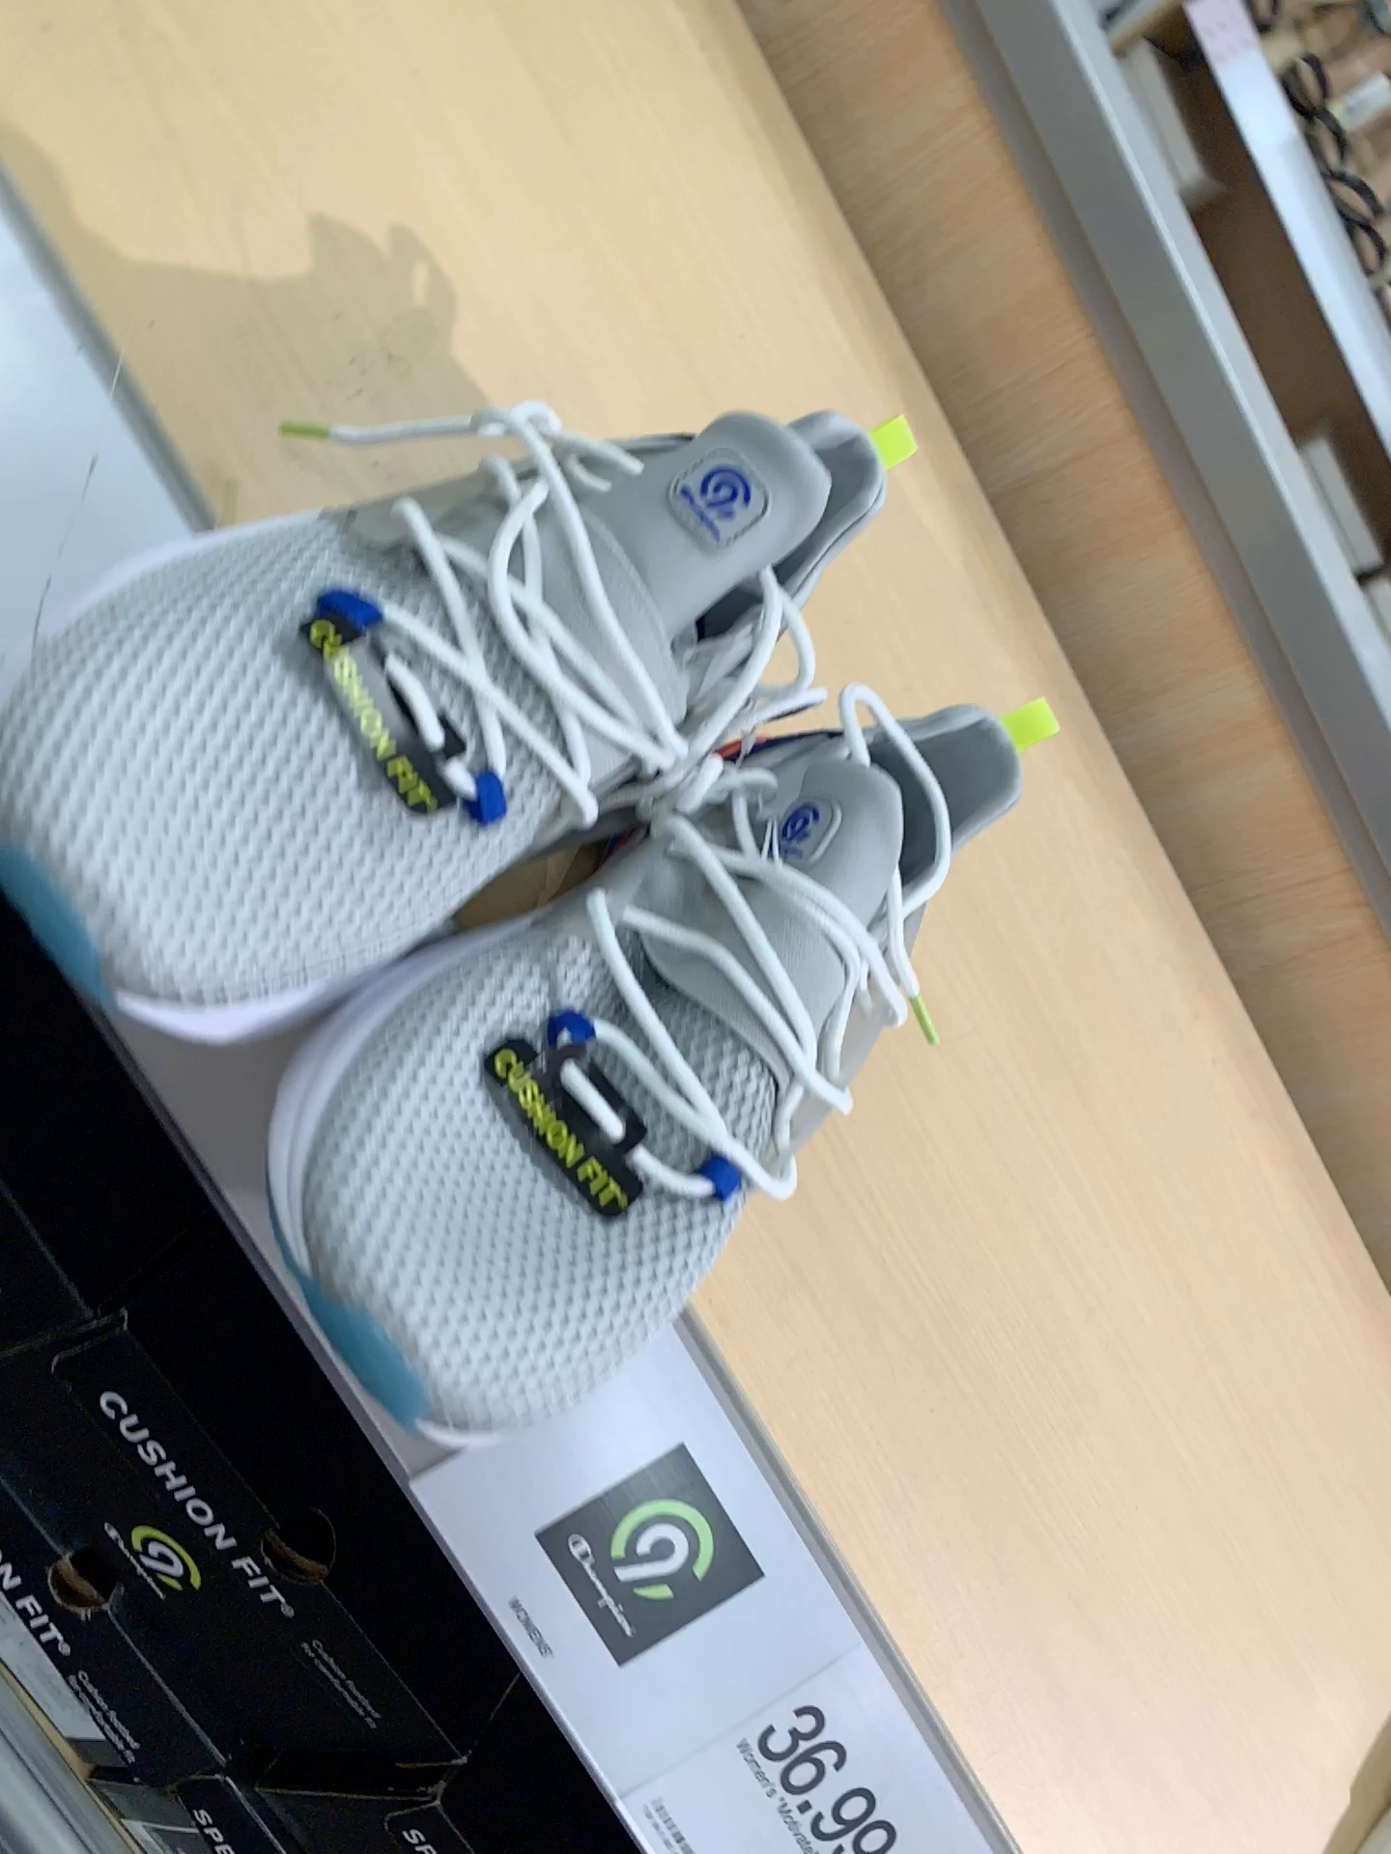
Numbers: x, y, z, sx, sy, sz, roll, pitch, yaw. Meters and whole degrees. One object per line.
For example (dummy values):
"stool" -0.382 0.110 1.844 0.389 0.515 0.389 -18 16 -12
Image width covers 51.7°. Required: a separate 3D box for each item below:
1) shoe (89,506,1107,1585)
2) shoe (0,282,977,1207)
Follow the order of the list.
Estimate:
"shoe" 0.008 0.006 0.351 0.110 0.090 0.271 56 38 -14
"shoe" -0.040 -0.065 0.336 0.110 0.090 0.271 60 38 -9
